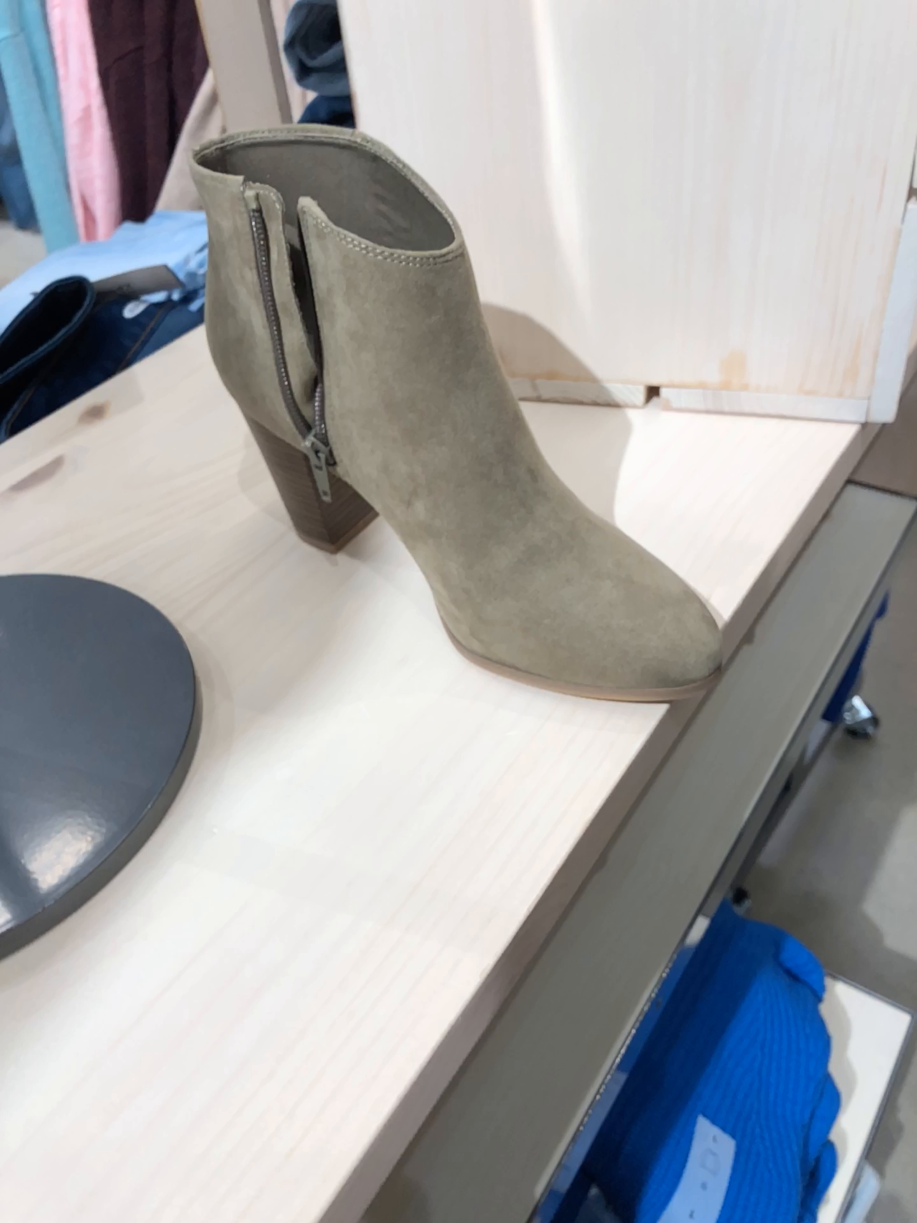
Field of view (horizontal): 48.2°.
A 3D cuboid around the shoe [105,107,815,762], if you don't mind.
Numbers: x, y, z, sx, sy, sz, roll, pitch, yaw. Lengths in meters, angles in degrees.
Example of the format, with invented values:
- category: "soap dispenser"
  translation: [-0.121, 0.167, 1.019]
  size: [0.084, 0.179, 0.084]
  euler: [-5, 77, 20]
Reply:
- category: "shoe"
  translation: [-0.004, -0.078, 0.390]
  size: [0.231, 0.169, 0.090]
  euler: [25, 50, 33]
